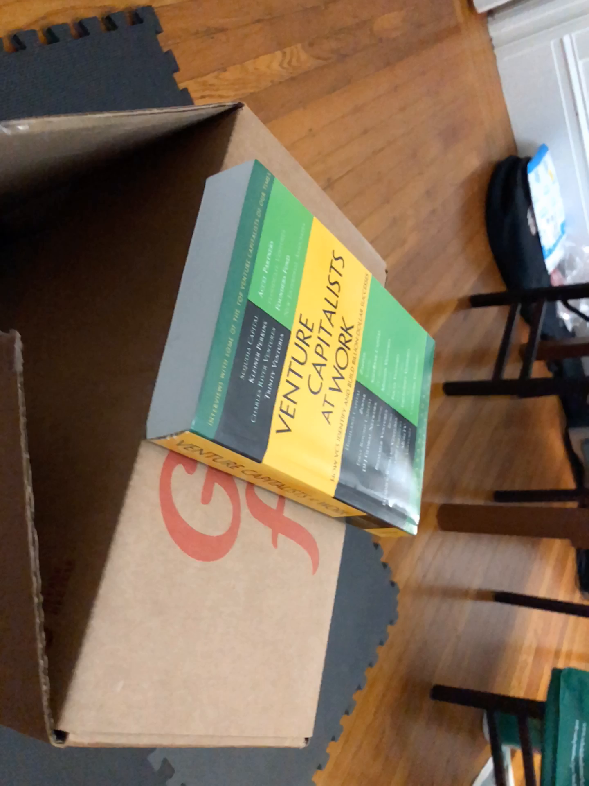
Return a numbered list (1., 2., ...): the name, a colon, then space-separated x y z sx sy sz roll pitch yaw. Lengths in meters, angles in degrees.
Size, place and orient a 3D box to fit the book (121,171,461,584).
1. book: 0.027 0.014 0.402 0.261 0.040 0.160 33 61 -48
